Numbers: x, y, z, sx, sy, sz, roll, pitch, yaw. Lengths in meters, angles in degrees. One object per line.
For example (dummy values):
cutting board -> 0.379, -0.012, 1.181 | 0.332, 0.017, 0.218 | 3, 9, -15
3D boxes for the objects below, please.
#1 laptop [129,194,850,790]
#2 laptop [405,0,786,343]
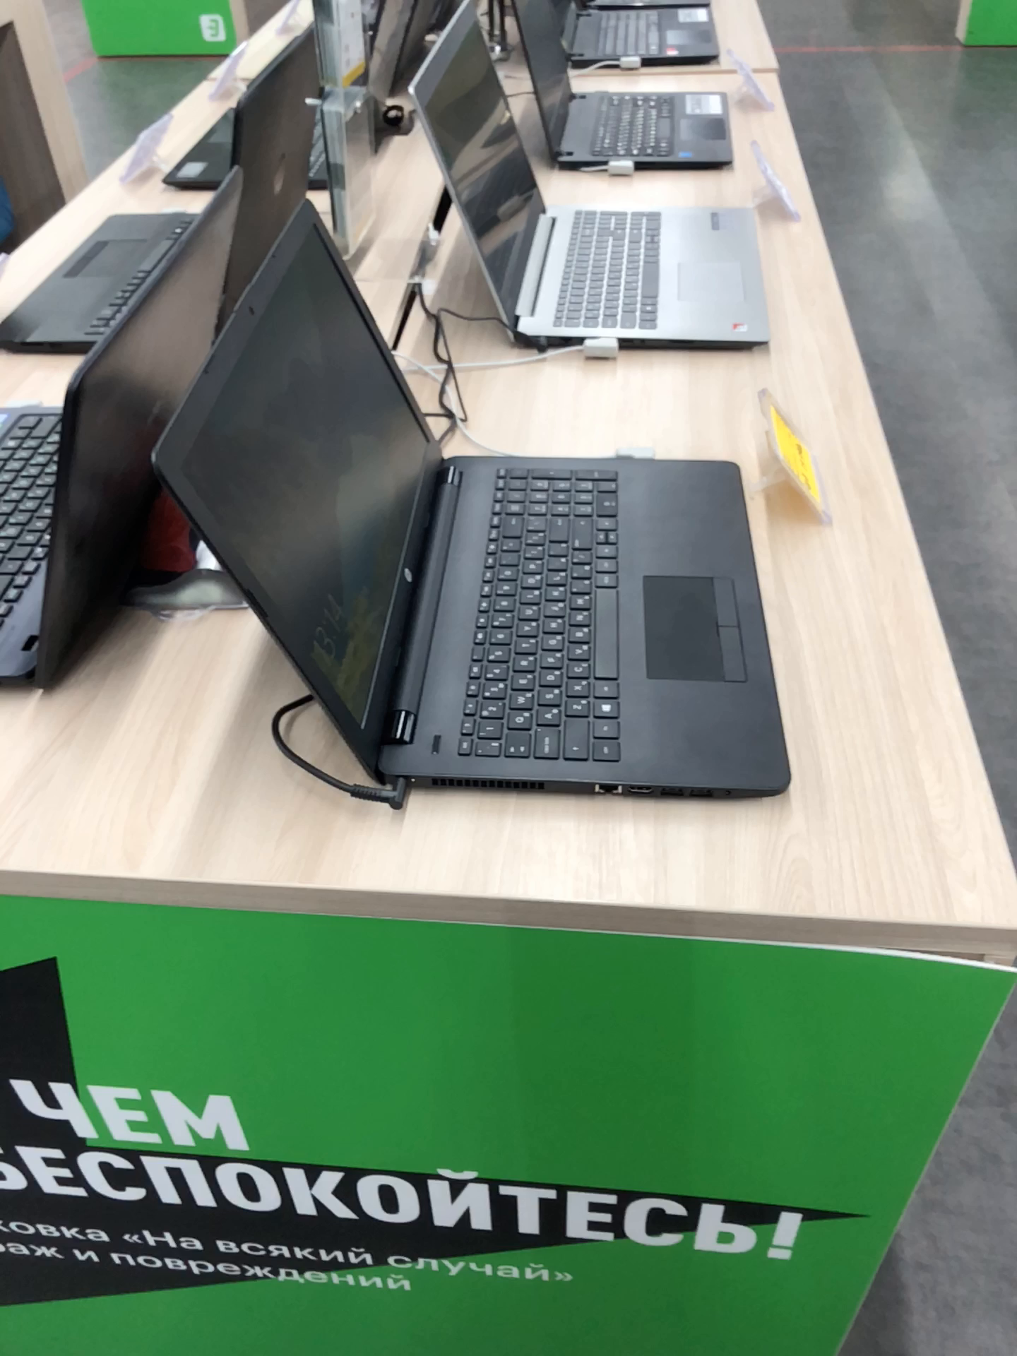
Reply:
laptop -> 0.005, -0.145, 0.742 | 0.341, 0.217, 0.378 | 2, 41, 4
laptop -> 0.100, -0.561, 1.204 | 0.338, 0.226, 0.372 | 4, 42, 6
